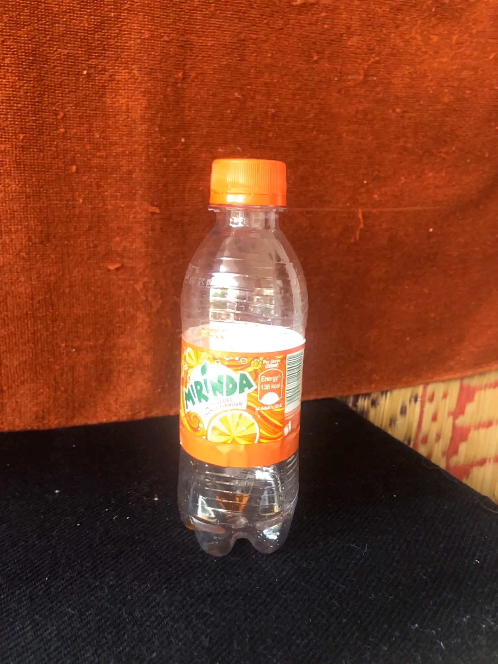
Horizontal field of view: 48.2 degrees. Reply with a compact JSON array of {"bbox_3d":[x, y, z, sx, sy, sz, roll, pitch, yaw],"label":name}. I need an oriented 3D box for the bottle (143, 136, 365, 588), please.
[{"bbox_3d":[-0.001,0.009,0.224,0.060,0.159,0.050,13,17,28],"label":"bottle"}]
